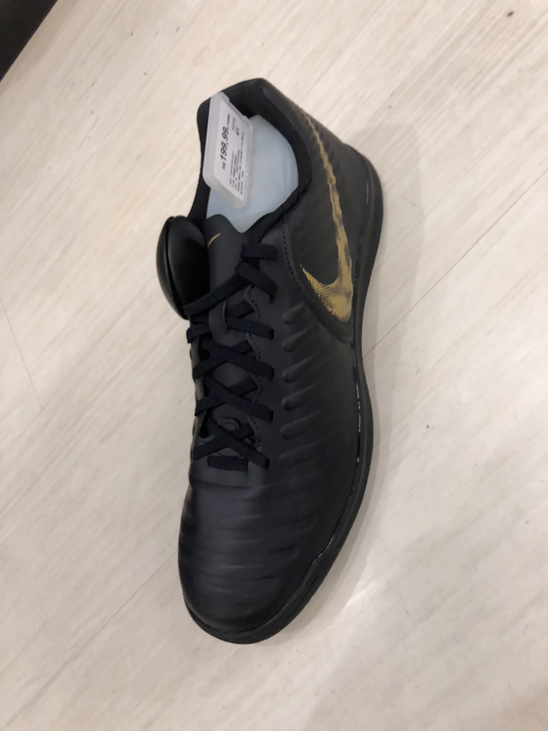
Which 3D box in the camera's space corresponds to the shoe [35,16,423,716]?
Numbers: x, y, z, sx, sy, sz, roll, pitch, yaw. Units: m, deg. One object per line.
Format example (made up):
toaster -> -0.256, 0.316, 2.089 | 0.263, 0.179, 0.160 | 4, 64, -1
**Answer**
shoe -> -0.007, -0.004, 0.312 | 0.100, 0.109, 0.290 | -1, 71, 36
